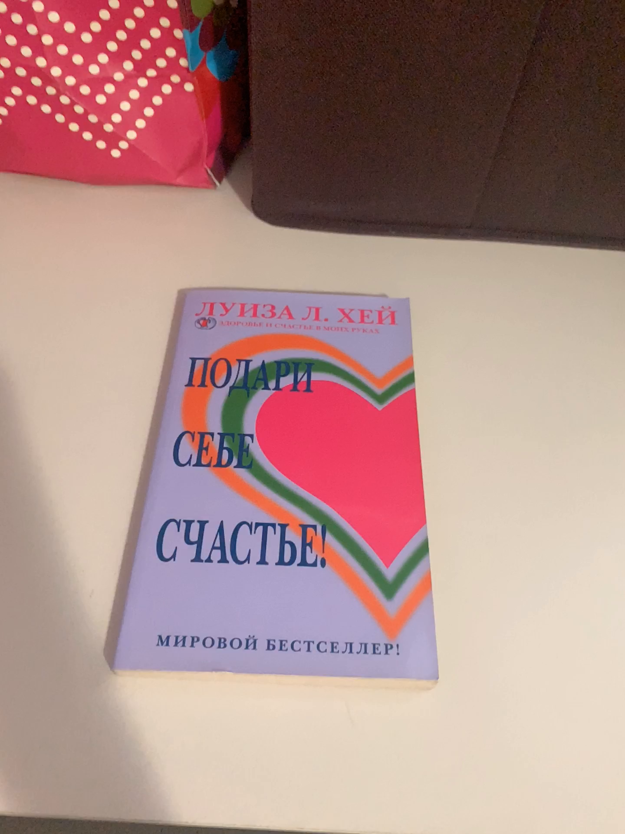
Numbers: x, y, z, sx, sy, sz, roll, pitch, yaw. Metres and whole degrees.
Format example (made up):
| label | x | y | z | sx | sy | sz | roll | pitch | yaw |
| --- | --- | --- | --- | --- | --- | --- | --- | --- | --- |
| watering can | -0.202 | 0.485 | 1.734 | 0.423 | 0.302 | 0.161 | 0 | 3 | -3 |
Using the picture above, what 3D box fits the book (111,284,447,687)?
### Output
| label | x | y | z | sx | sy | sz | roll | pitch | yaw |
| --- | --- | --- | --- | --- | --- | --- | --- | --- | --- |
| book | -0.010 | 0.017 | 0.297 | 0.123 | 0.016 | 0.195 | 3 | 56 | -2 |
